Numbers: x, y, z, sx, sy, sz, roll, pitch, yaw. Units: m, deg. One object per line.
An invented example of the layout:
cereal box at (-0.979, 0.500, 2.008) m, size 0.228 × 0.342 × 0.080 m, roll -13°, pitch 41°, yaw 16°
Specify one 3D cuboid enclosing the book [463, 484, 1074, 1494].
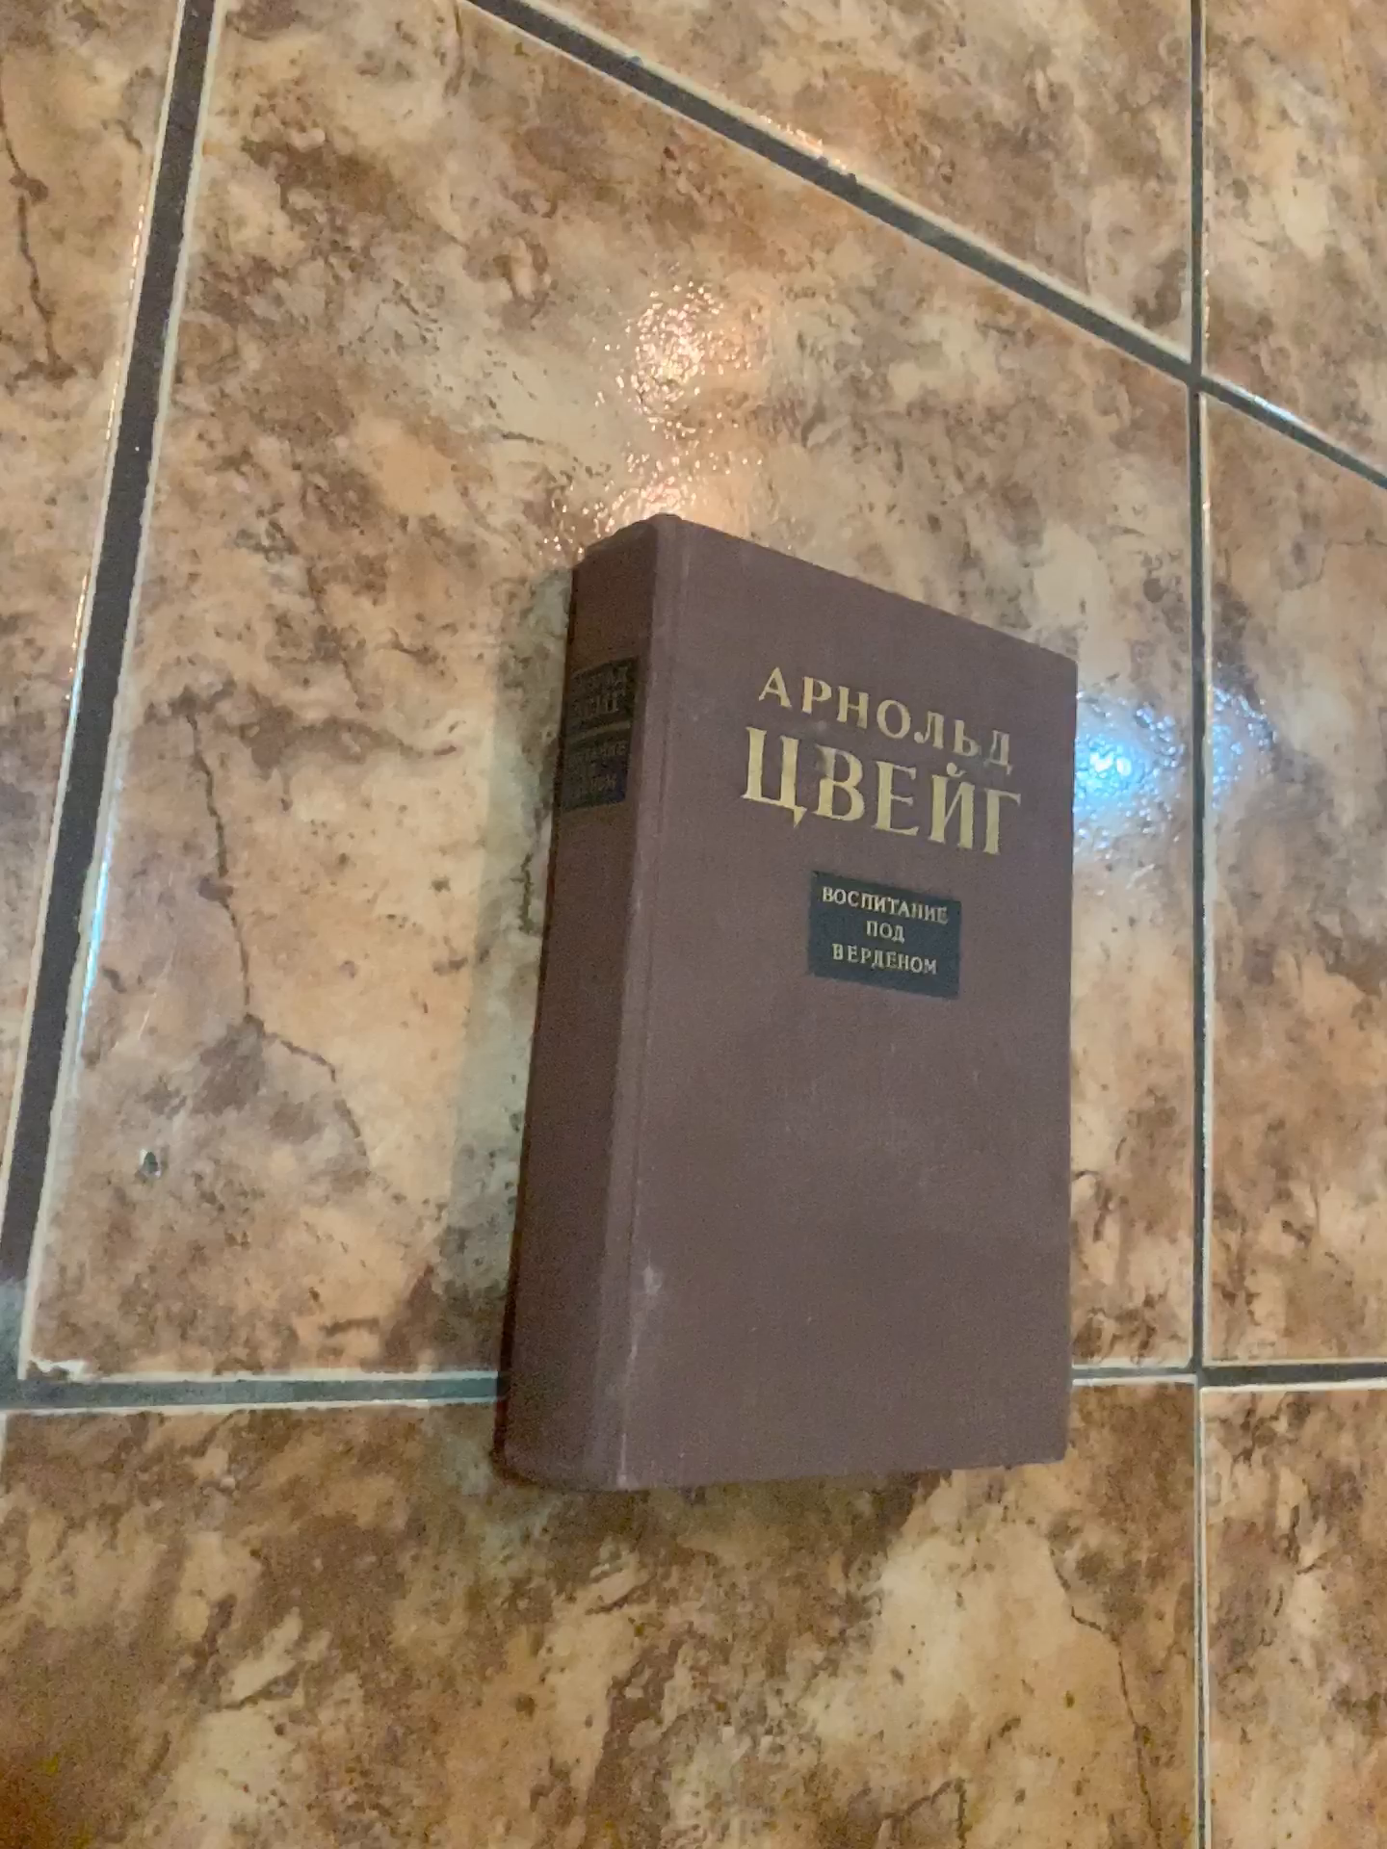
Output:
book at (0.027, 0.019, 0.338) m, size 0.139 × 0.034 × 0.205 m, roll 11°, pitch 78°, yaw -32°
